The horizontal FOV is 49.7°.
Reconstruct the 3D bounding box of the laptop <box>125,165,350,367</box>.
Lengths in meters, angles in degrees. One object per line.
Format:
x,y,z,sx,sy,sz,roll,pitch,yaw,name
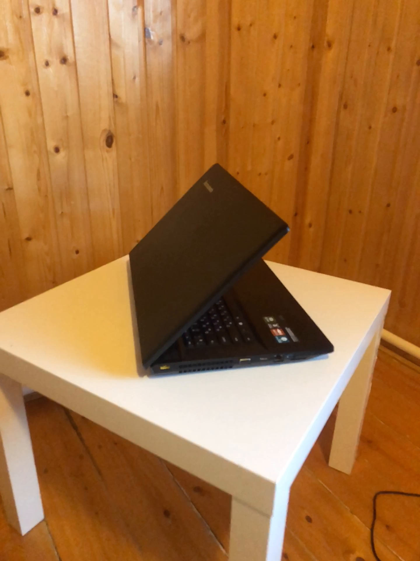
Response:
0.005,-0.063,0.776,0.271,0.184,0.412,-4,25,-11,laptop
